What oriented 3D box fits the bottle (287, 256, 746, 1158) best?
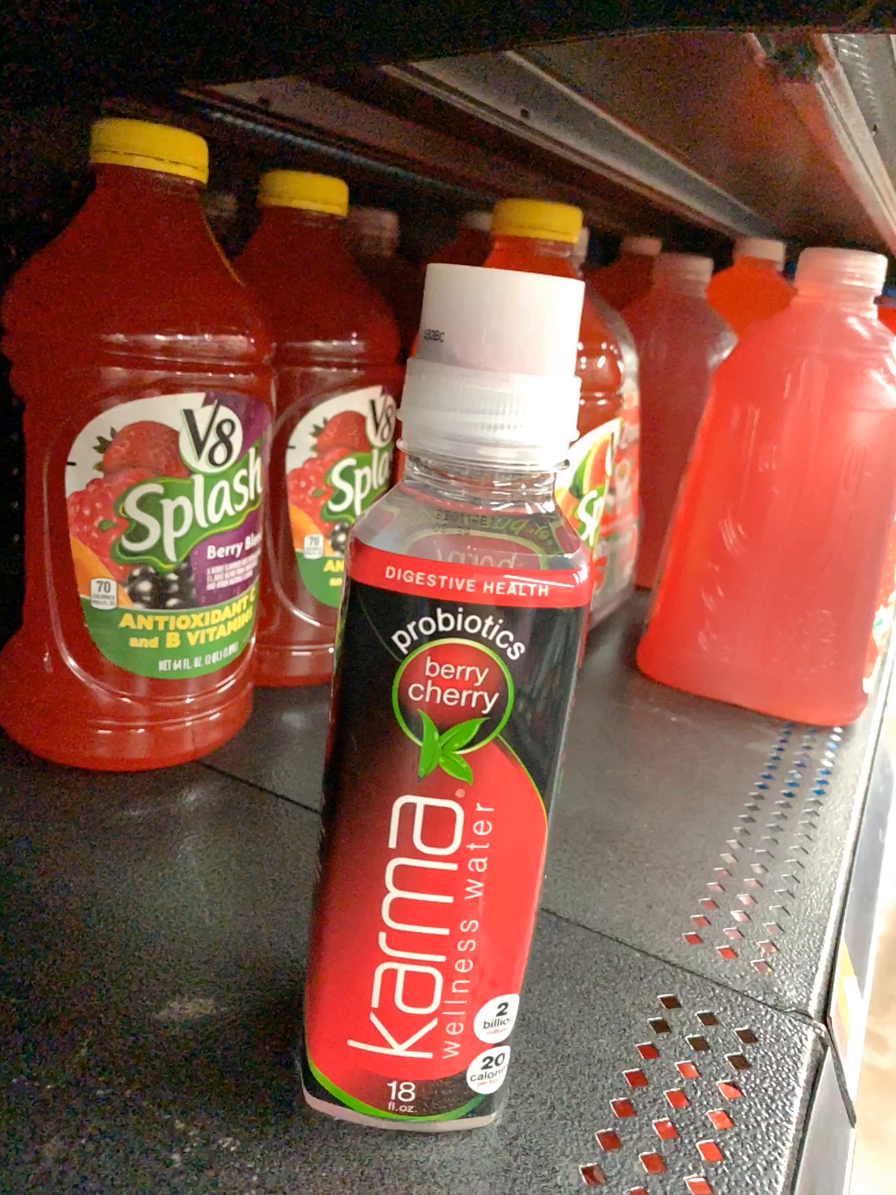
[{"bbox_3d":[0.007,0.029,0.237,0.068,0.209,0.070,7,18,-2],"label":"bottle"}]
